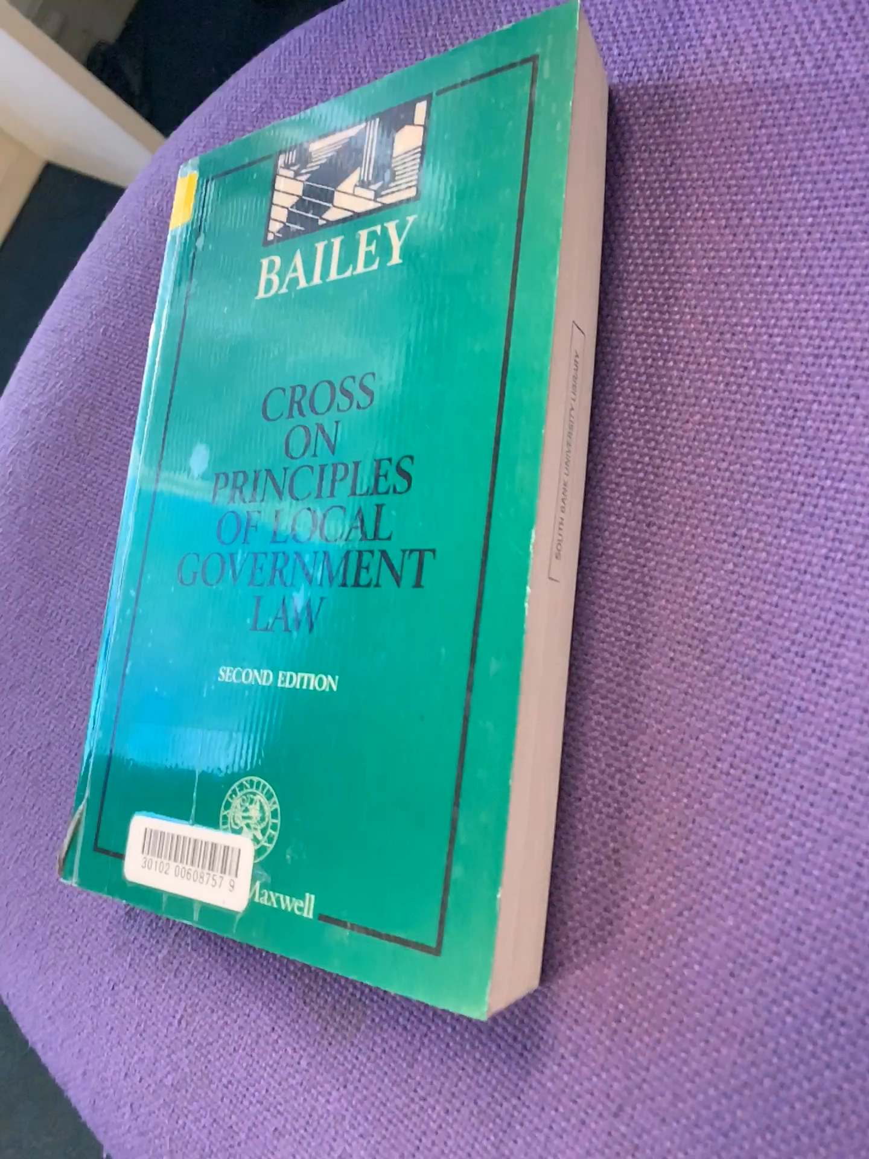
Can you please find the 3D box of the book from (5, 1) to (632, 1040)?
[{"bbox_3d":[-0.035,-0.021,0.258,0.161,0.040,0.236,-1,76,34],"label":"book"}]
